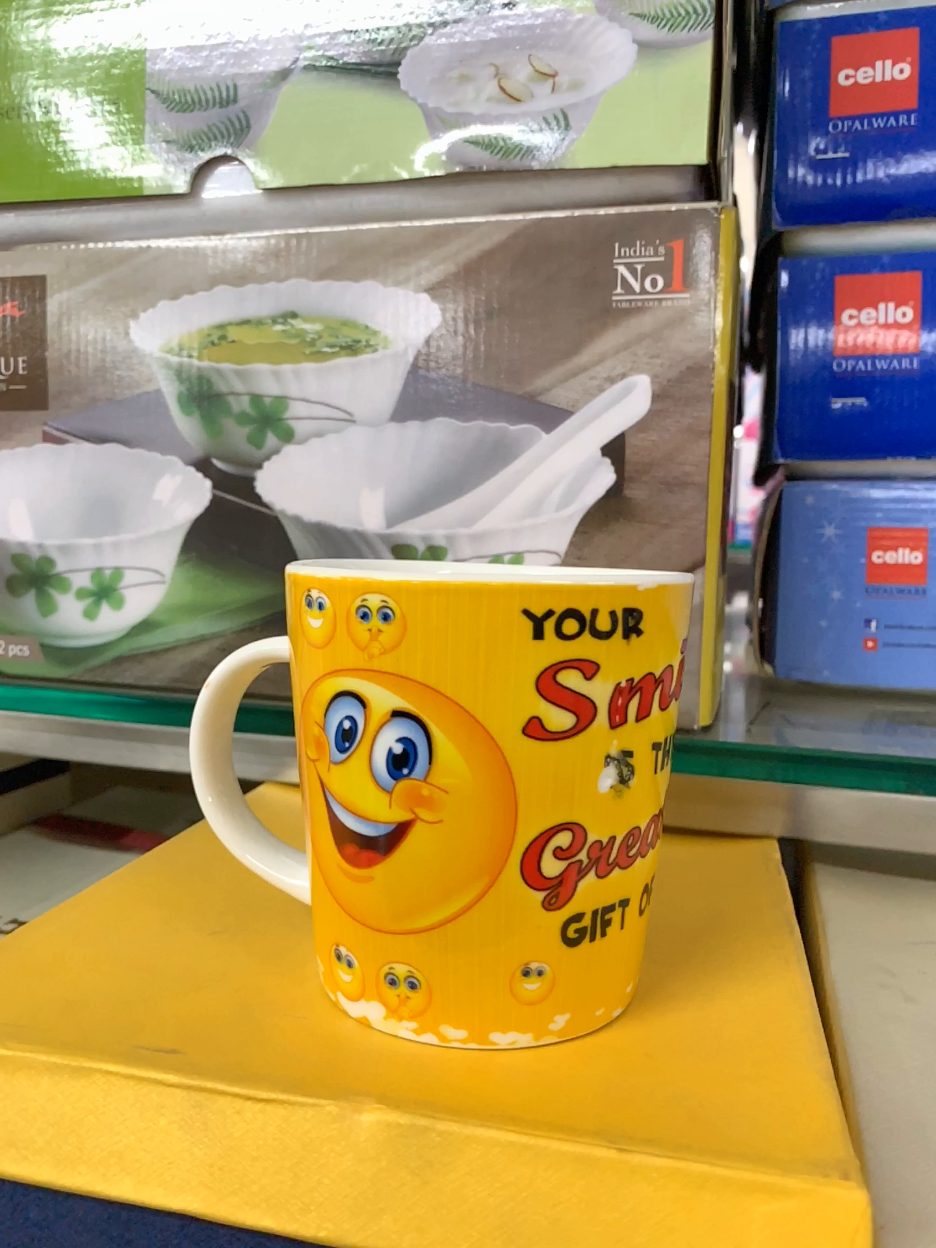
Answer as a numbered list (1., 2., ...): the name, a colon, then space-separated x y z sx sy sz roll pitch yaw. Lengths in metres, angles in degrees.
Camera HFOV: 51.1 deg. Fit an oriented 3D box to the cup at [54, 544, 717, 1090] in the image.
1. cup: -0.015 0.027 0.209 0.119 0.081 0.072 4 7 22
